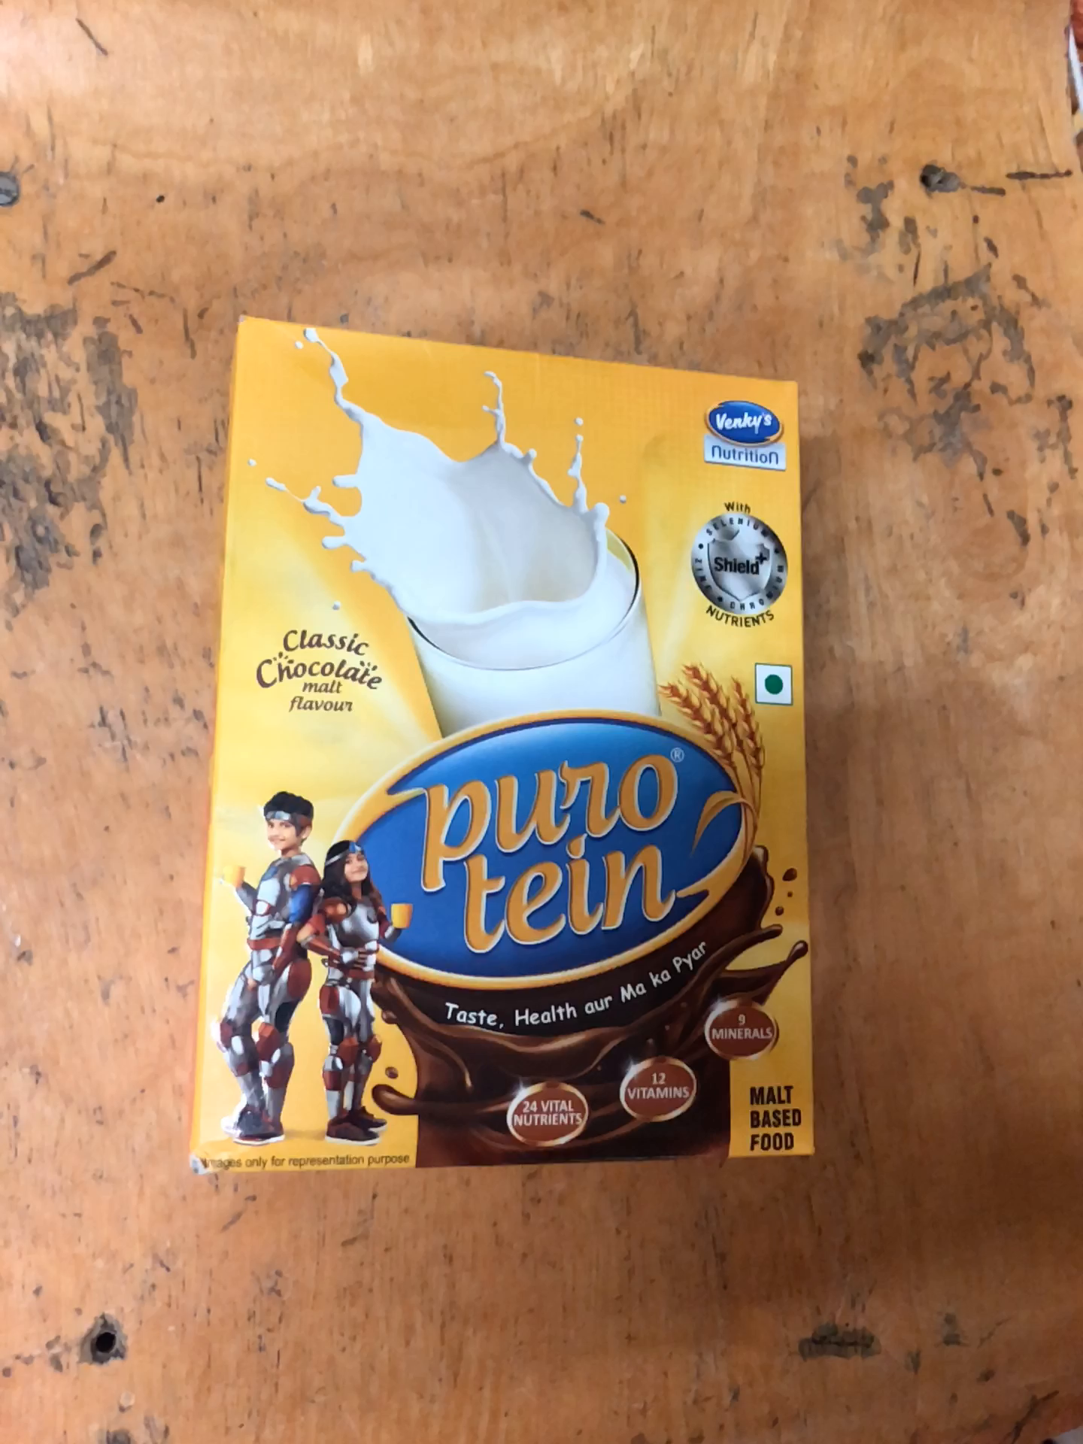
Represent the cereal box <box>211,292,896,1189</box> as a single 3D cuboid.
[{"bbox_3d":[0.001,0.008,0.293,0.140,0.080,0.180,4,81,-12],"label":"cereal box"}]
